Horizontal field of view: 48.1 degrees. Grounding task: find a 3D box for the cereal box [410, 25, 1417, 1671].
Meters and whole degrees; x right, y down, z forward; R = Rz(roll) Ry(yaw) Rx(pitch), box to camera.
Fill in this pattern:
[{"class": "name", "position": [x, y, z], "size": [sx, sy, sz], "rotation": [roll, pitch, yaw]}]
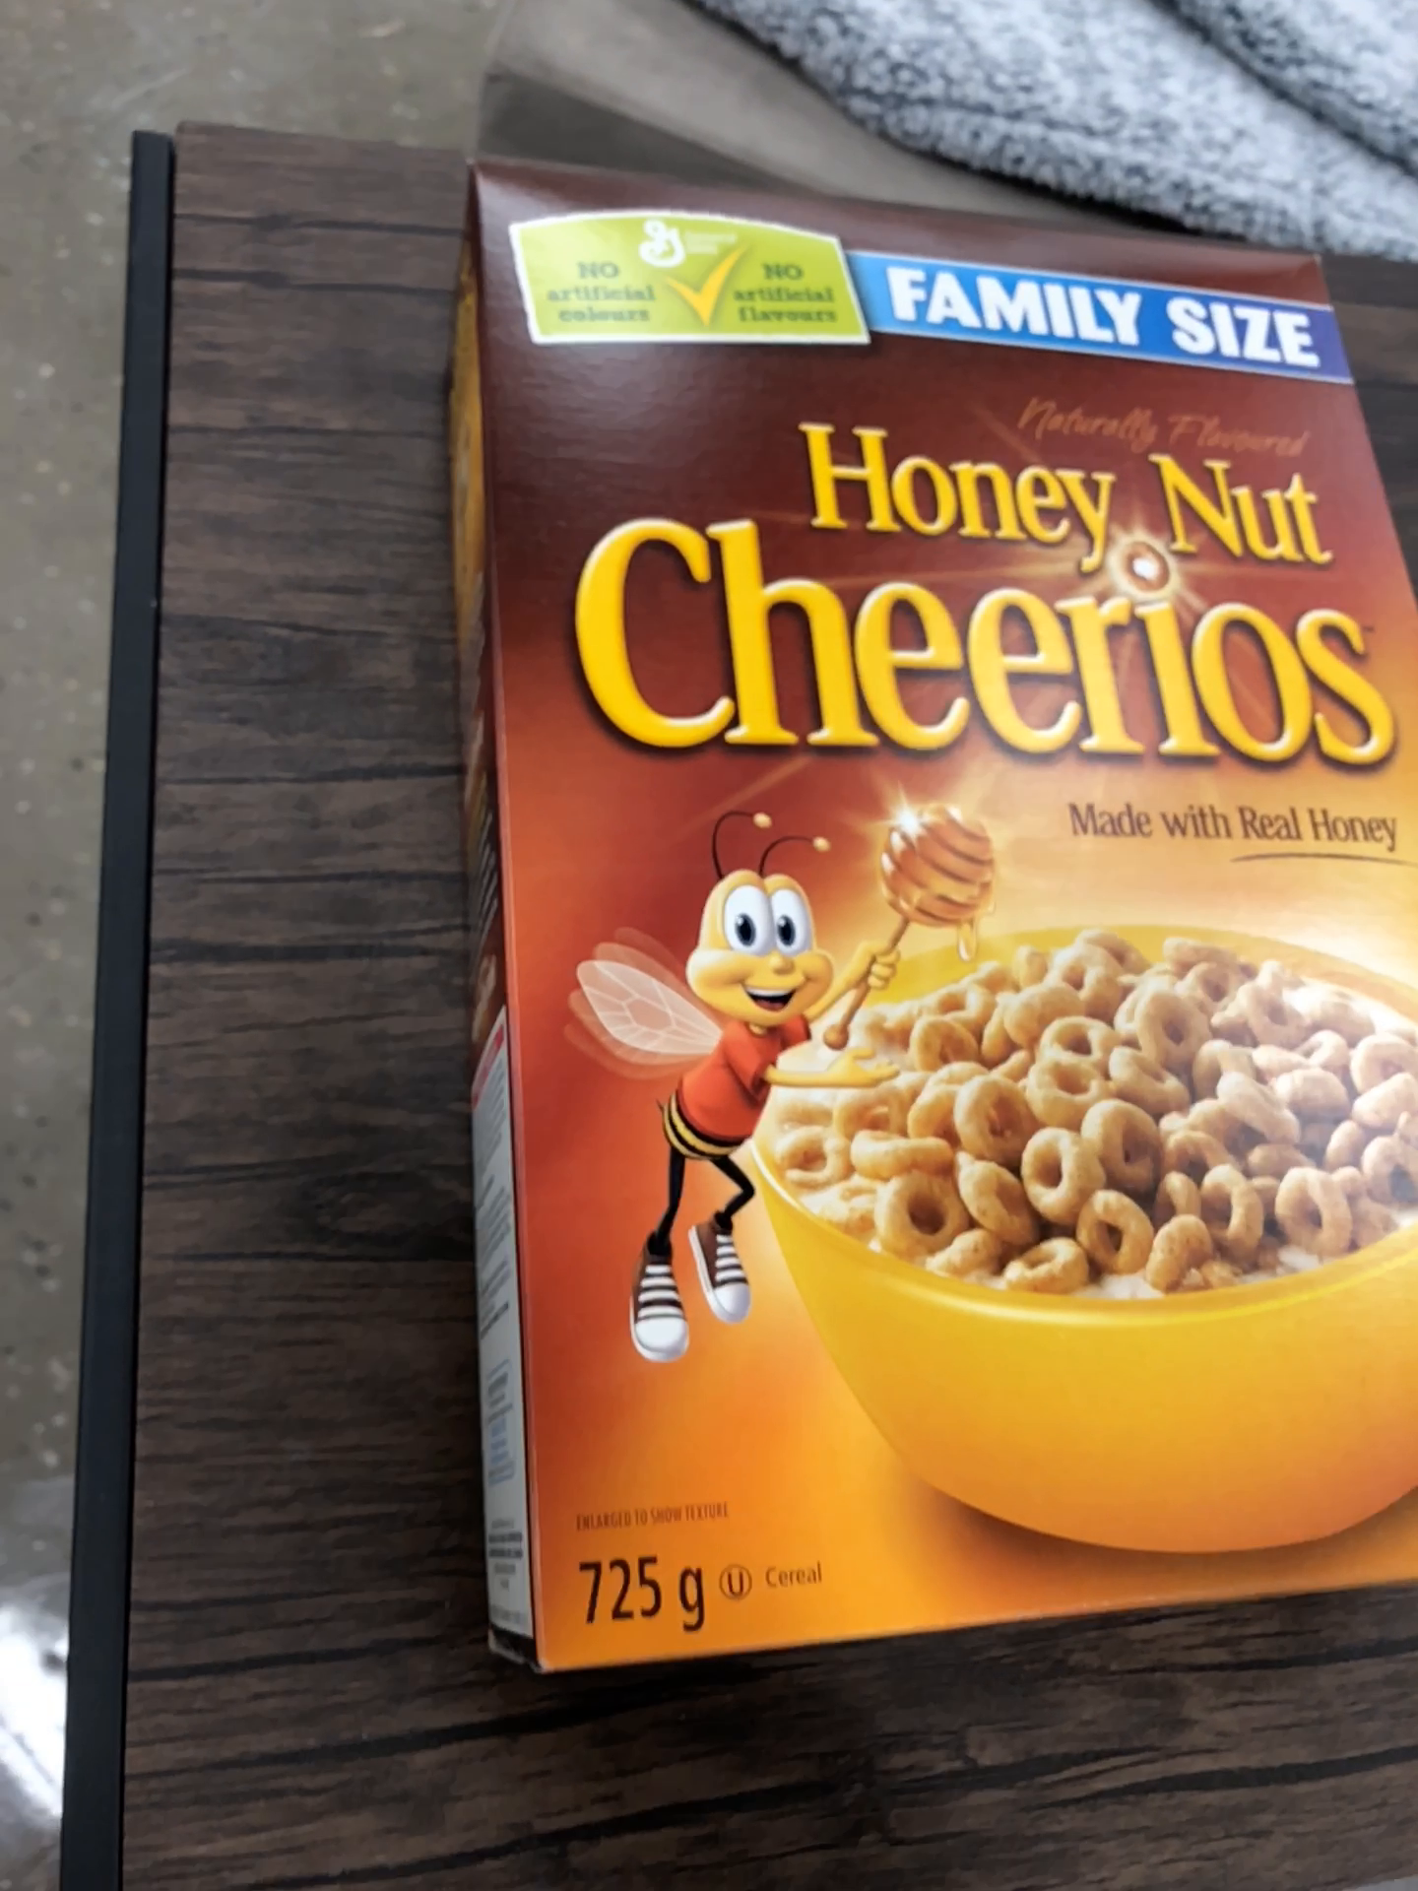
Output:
[{"class": "cereal box", "position": [0.056, -0.041, 0.398], "size": [0.250, 0.080, 0.380], "rotation": [0, 69, -12]}]
